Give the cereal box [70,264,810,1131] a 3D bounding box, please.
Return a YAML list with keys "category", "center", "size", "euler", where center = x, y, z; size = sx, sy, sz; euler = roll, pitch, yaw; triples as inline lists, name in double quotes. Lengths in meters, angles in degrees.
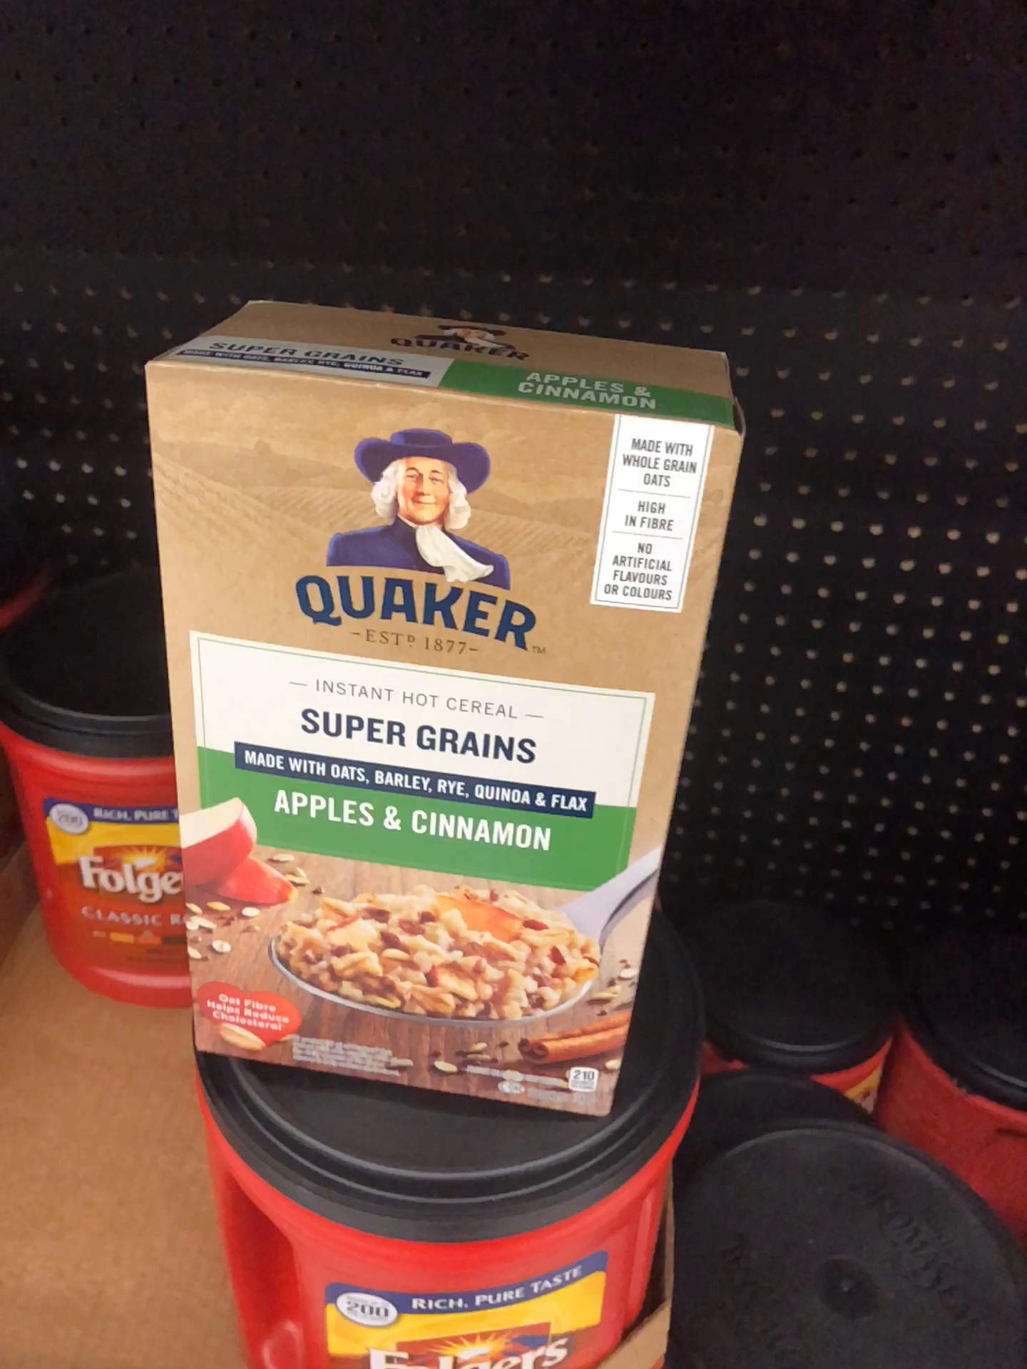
- category: "cereal box"
  center: [-0.017, 0.010, 0.290]
  size: [0.140, 0.199, 0.060]
  euler: [7, 31, 6]
